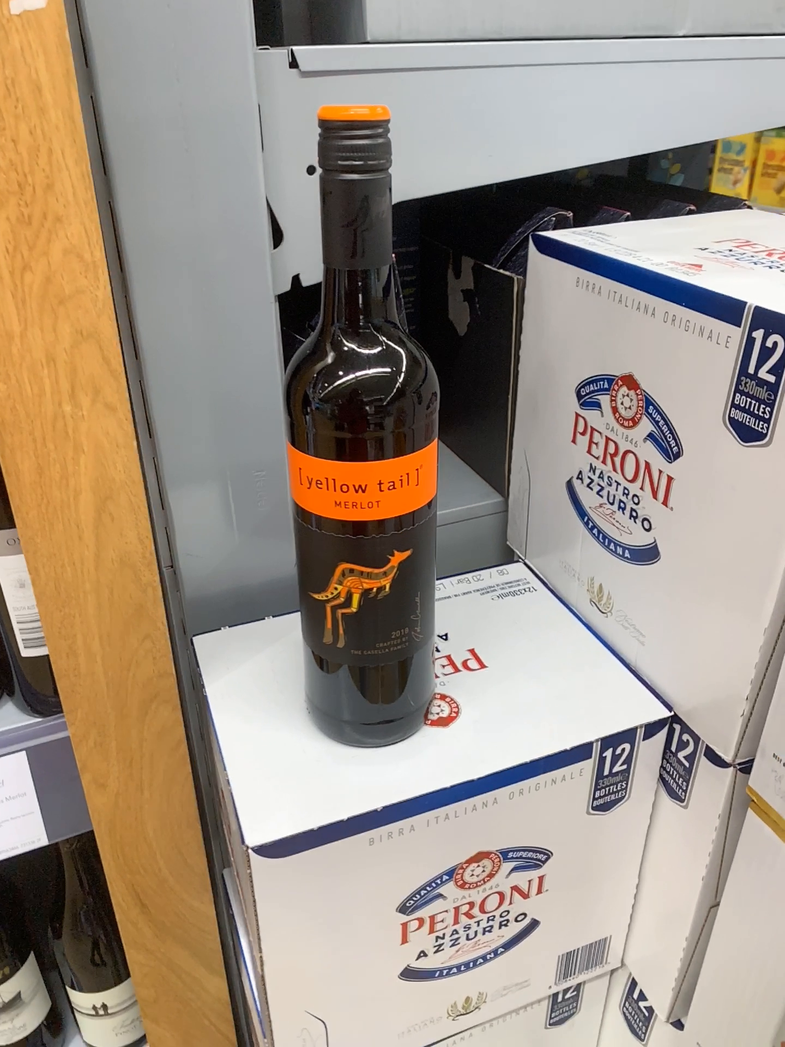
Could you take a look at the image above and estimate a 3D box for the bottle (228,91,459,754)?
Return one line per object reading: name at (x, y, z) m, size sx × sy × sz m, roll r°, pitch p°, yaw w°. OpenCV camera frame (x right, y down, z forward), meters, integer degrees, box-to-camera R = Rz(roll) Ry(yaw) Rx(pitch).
bottle at (-0.013, -0.032, 0.376) m, size 0.078 × 0.297 × 0.077 m, roll -1°, pitch 28°, yaw 0°
